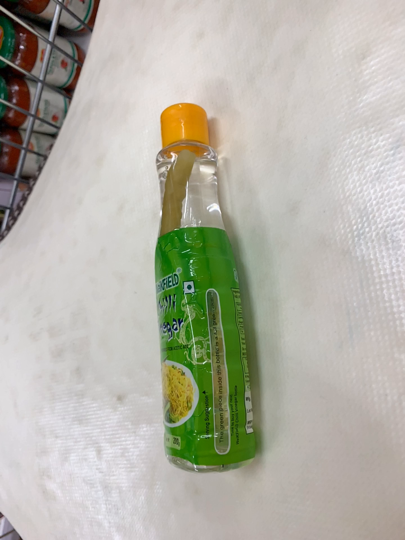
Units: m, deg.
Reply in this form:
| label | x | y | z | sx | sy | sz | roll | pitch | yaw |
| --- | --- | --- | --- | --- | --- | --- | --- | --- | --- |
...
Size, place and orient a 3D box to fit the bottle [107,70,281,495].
| label | x | y | z | sx | sy | sz | roll | pitch | yaw |
| --- | --- | --- | --- | --- | --- | --- | --- | --- | --- |
| bottle | -0.010 | 0.003 | 0.211 | 0.060 | 0.040 | 0.180 | -23 | 73 | 59 |
